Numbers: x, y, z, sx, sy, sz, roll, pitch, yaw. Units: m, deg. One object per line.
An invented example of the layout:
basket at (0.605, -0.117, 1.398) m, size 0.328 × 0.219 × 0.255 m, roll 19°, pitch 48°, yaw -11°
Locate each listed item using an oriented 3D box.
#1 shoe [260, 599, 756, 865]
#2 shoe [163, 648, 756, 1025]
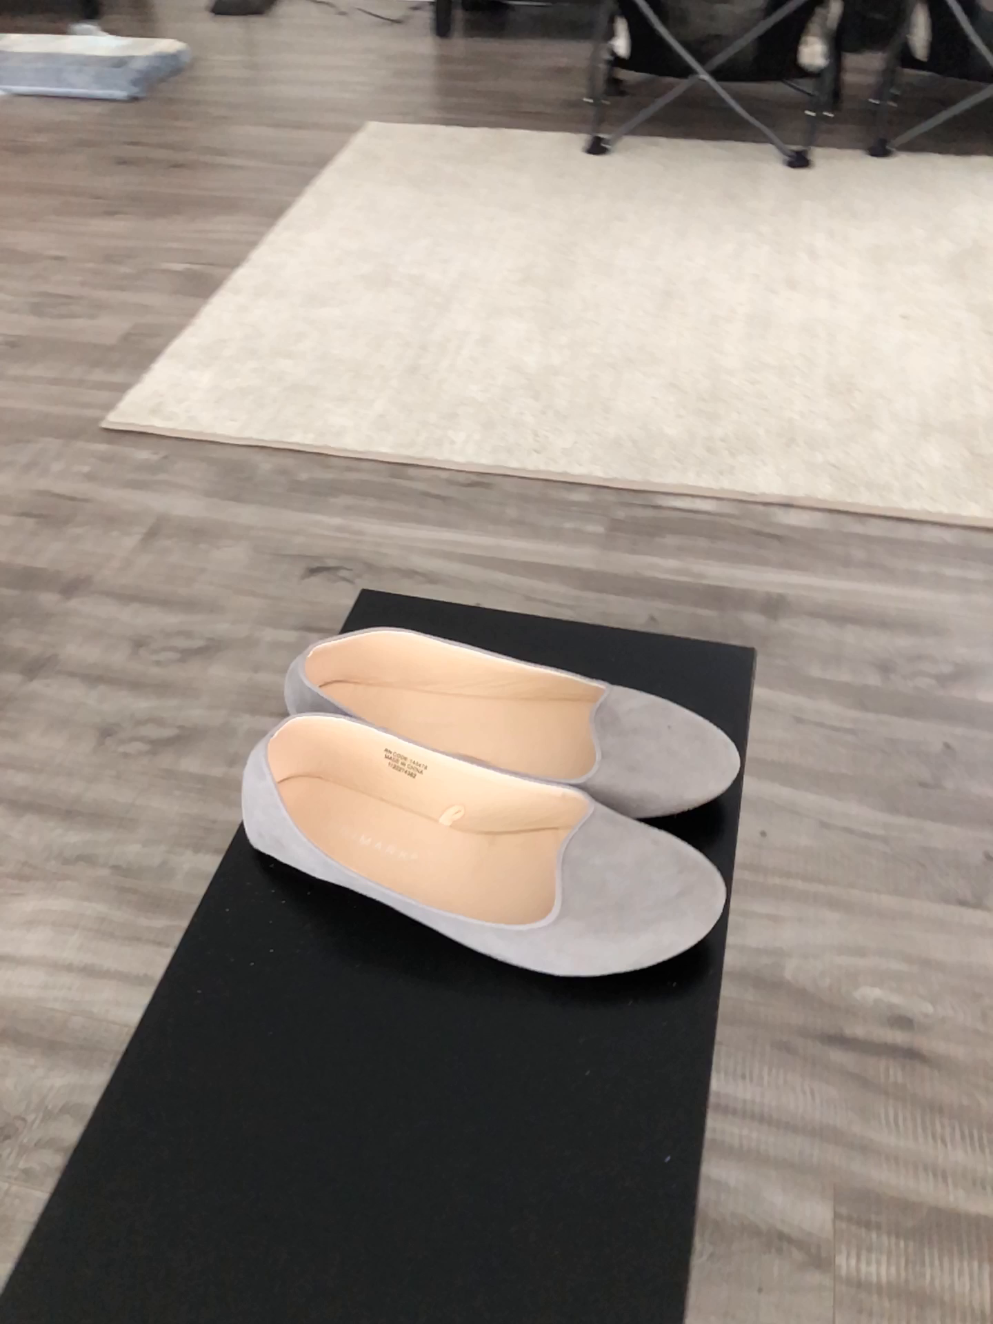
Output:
shoe at (0.010, 0.034, 0.603) m, size 0.250 × 0.060 × 0.100 m, roll 7°, pitch 44°, yaw 10°
shoe at (-0.013, 0.079, 0.529) m, size 0.253 × 0.090 × 0.100 m, roll 10°, pitch 45°, yaw 12°
